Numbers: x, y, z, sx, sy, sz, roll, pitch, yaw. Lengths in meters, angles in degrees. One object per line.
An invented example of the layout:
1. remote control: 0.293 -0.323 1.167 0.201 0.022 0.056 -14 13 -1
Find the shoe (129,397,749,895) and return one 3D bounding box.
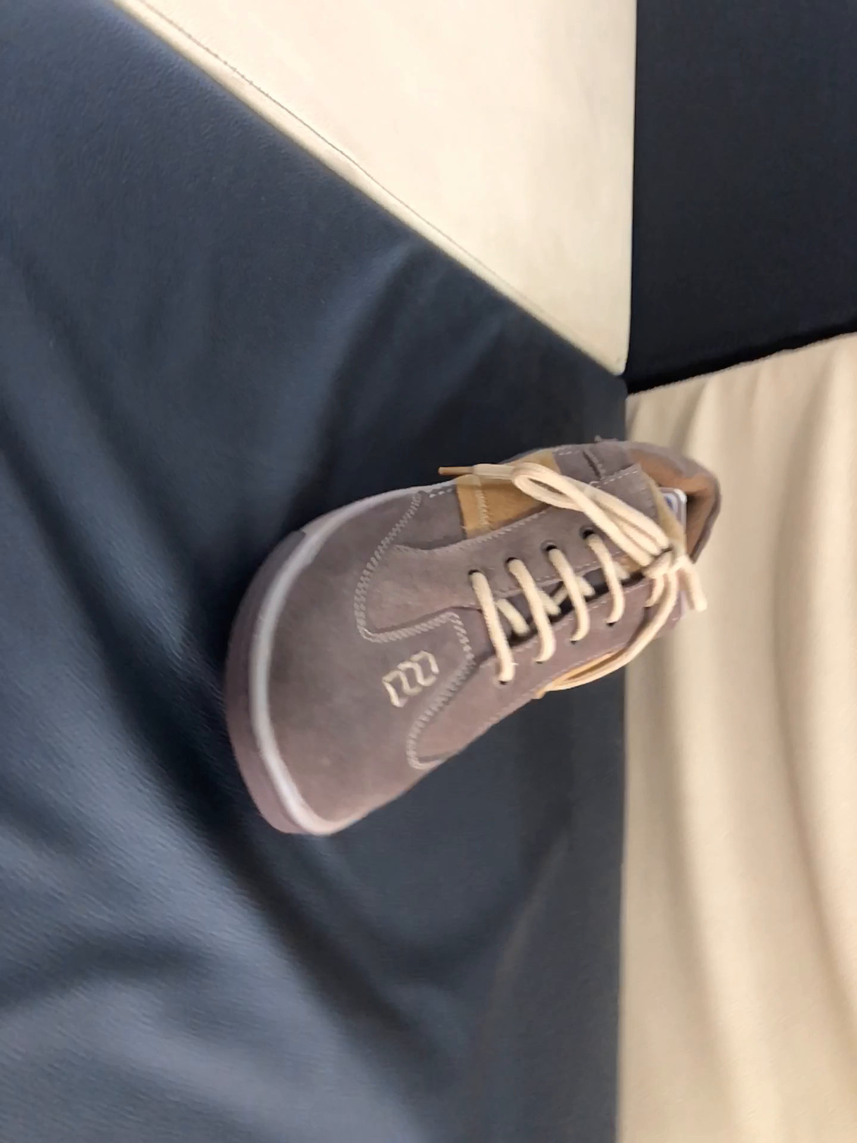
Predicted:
1. shoe: 0.034 0.008 0.398 0.292 0.079 0.100 -26 102 -49
